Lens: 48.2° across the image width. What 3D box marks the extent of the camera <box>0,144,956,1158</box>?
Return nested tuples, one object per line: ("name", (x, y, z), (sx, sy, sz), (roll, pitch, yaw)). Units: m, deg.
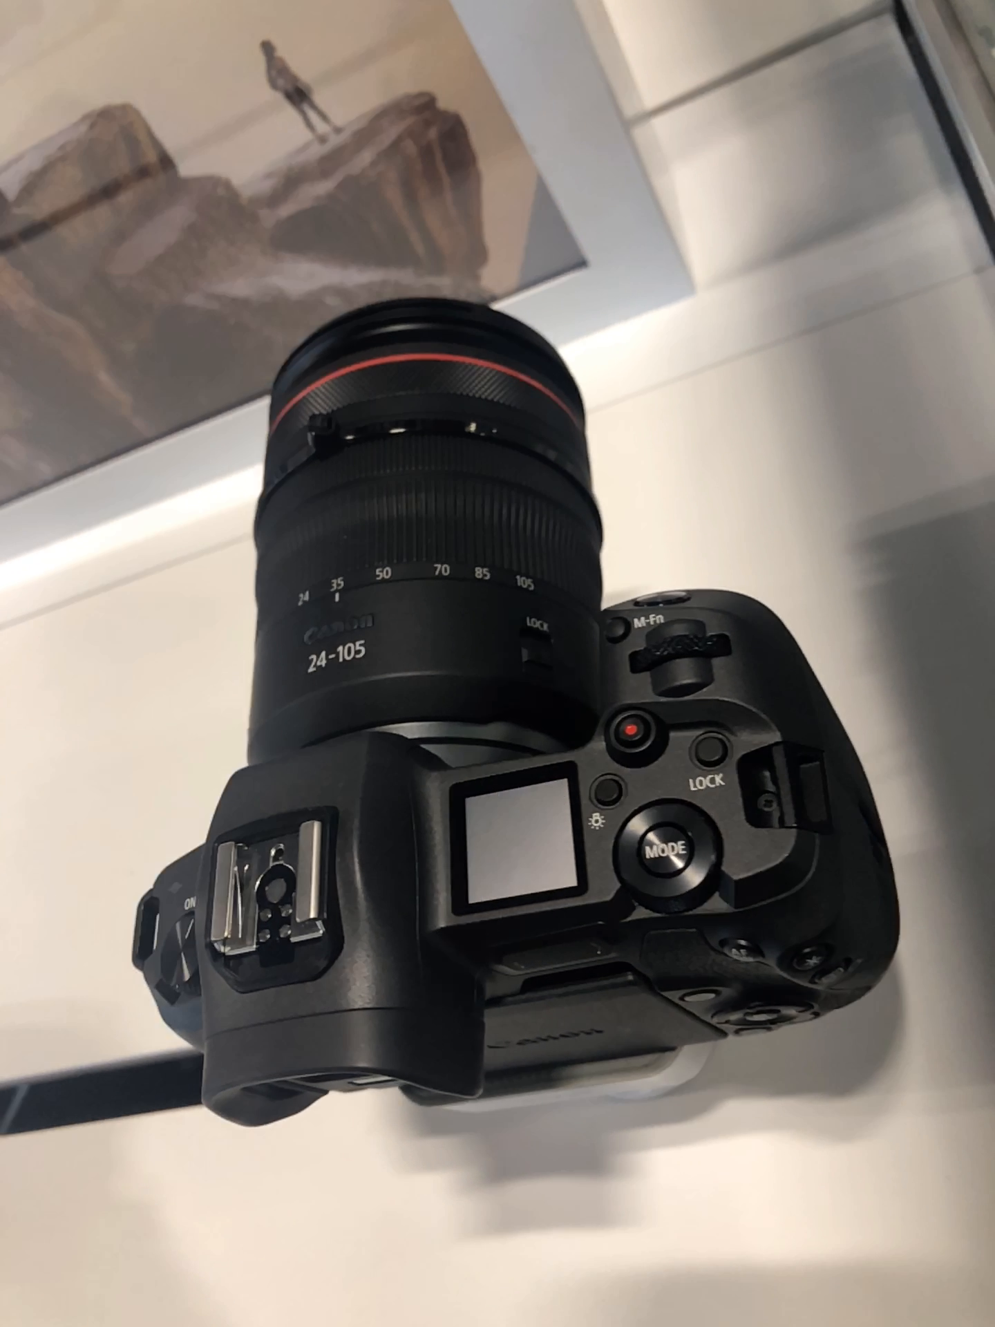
("camera", (-0.007, 0.007, 0.220), (0.139, 0.086, 0.145), (-17, 57, 20))
